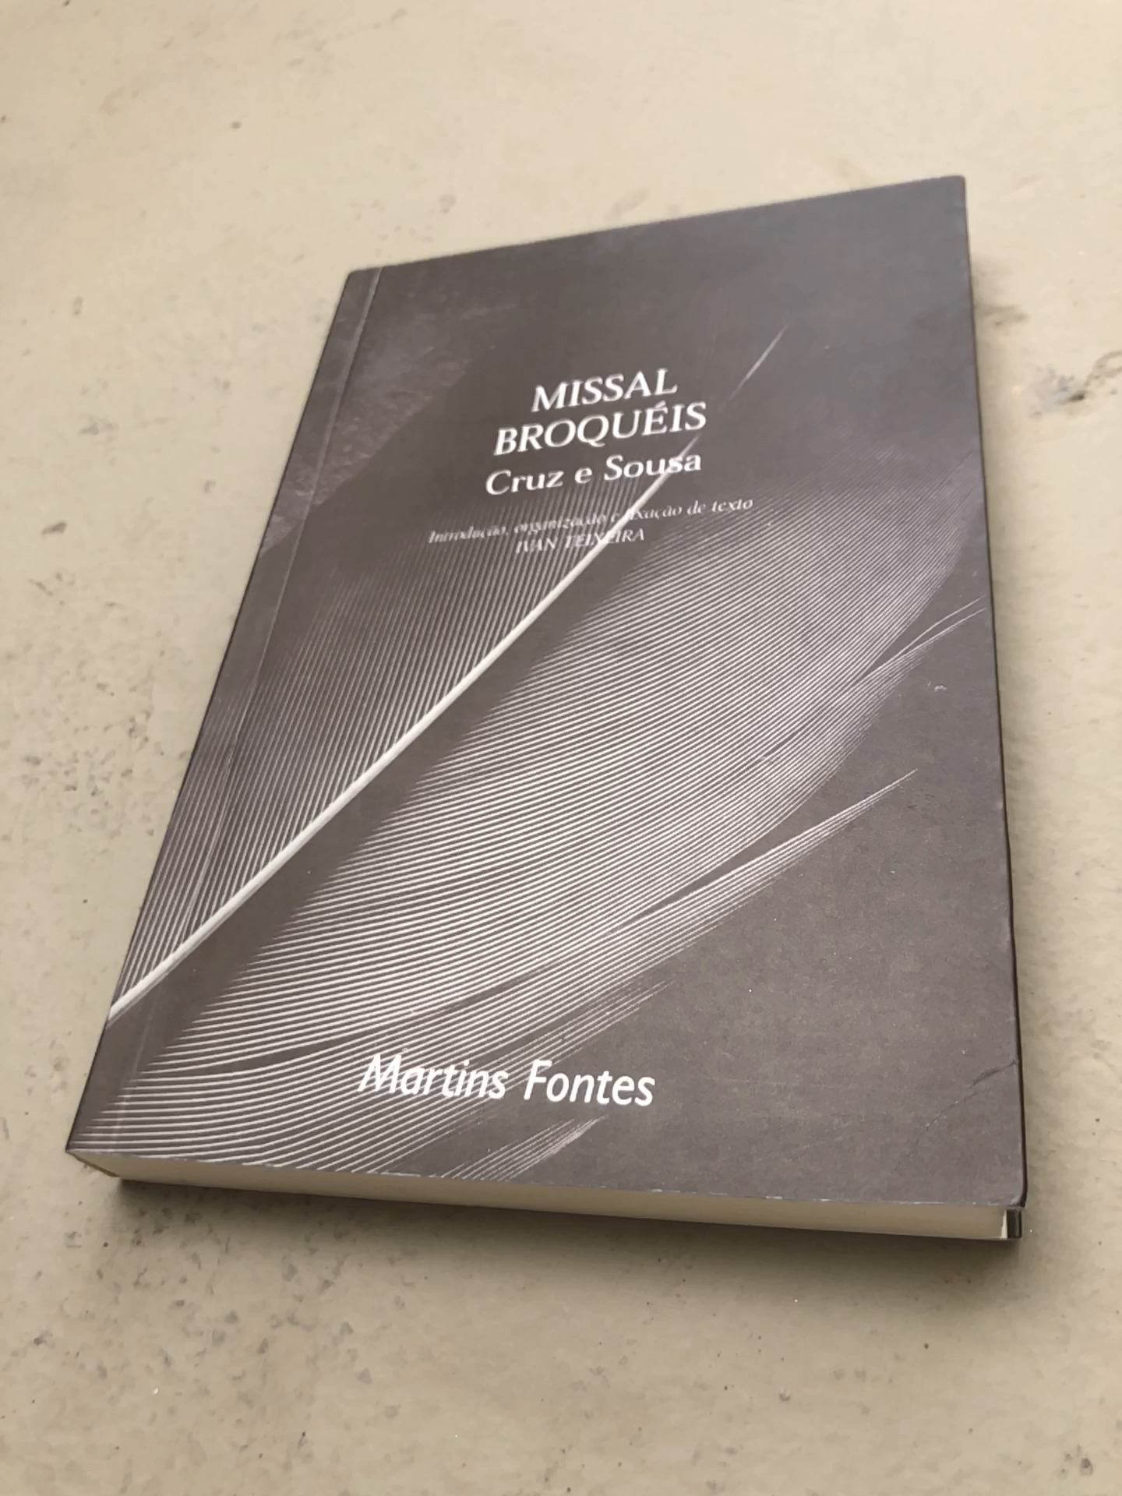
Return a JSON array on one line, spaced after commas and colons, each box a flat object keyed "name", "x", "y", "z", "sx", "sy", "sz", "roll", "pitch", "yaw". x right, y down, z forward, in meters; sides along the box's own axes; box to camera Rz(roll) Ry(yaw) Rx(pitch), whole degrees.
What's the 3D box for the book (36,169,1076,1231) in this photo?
[{"name": "book", "x": 0.005, "y": -0.021, "z": 0.200, "sx": 0.128, "sy": 0.016, "sz": 0.174, "roll": -2, "pitch": 57, "yaw": 17}]
